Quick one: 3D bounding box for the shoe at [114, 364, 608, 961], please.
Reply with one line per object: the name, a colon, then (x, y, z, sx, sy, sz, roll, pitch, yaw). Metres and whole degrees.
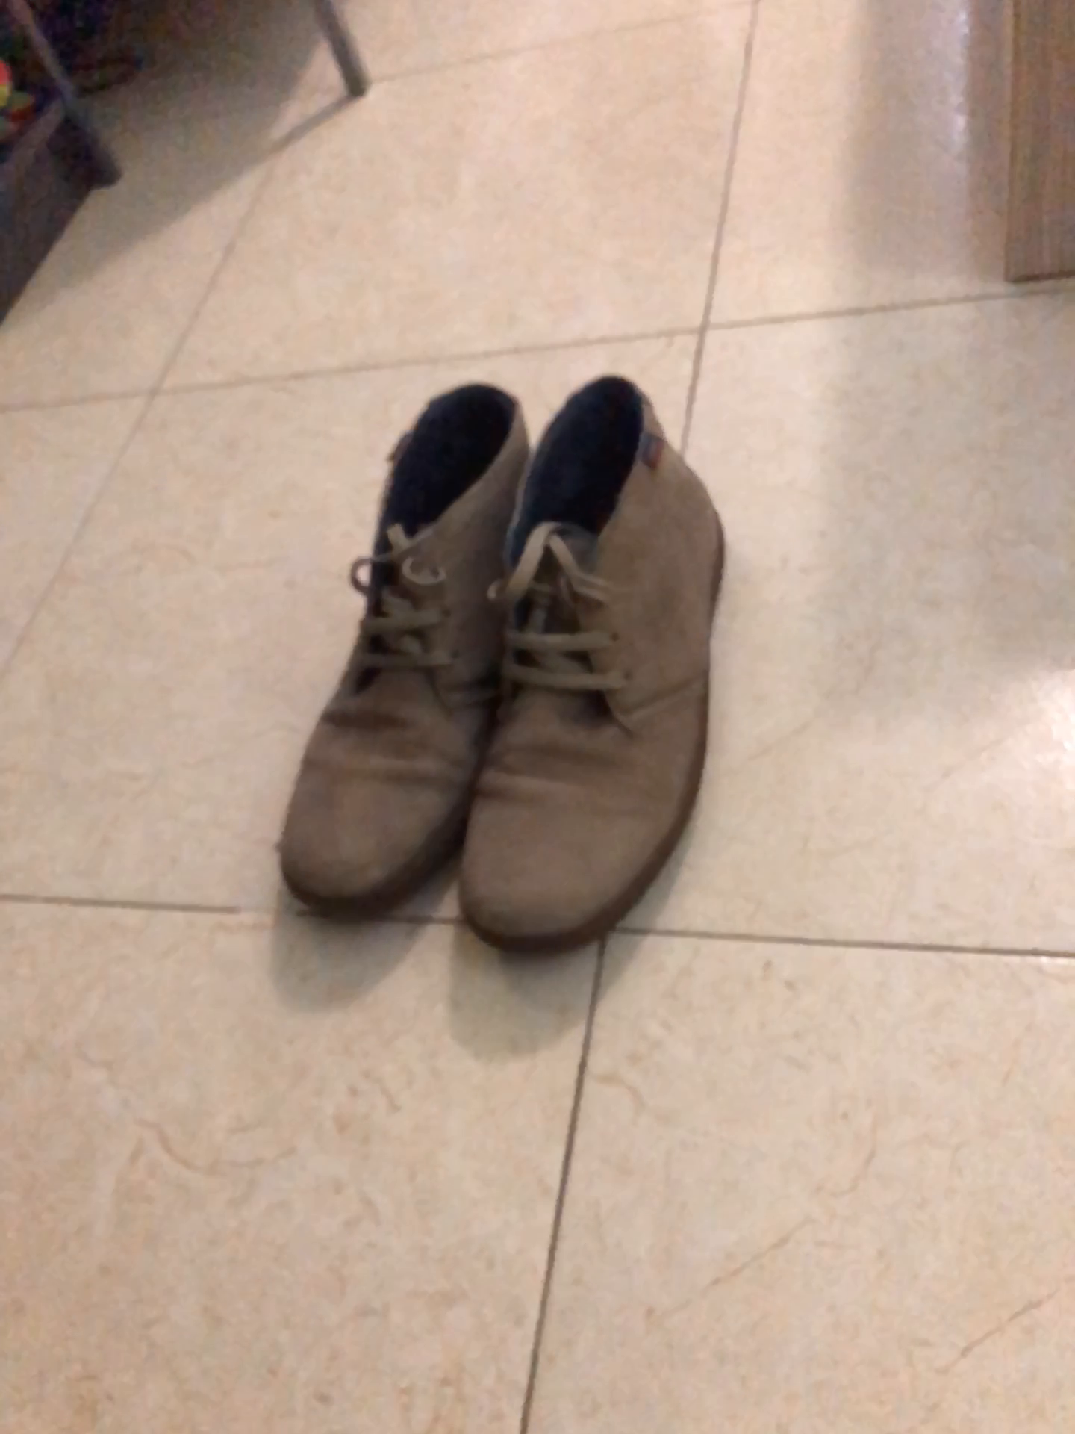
shoe: (-0.071, -0.039, 0.616, 0.110, 0.120, 0.280, 7, 57, 25)

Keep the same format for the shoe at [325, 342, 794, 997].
shoe: (0.029, -0.033, 0.567, 0.120, 0.120, 0.280, 5, 56, 23)
